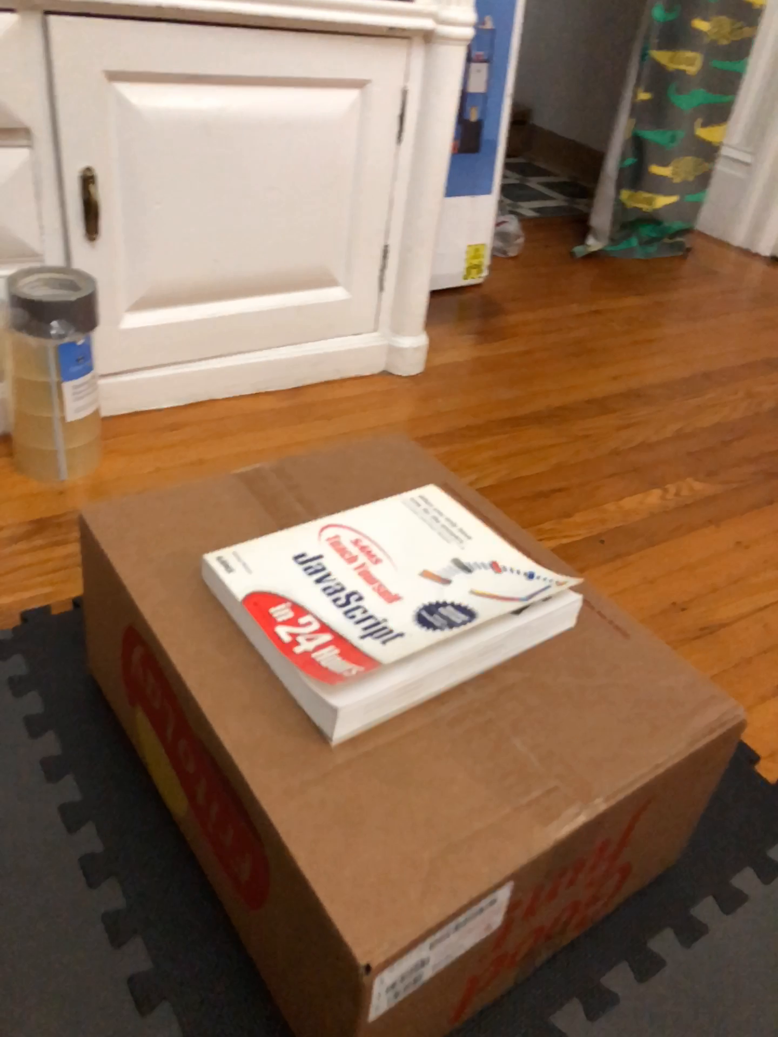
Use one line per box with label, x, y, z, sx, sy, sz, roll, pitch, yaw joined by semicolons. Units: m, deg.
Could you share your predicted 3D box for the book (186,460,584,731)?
book;-0.003;0.041;0.665;0.241;0.030;0.201;-18;43;-35
